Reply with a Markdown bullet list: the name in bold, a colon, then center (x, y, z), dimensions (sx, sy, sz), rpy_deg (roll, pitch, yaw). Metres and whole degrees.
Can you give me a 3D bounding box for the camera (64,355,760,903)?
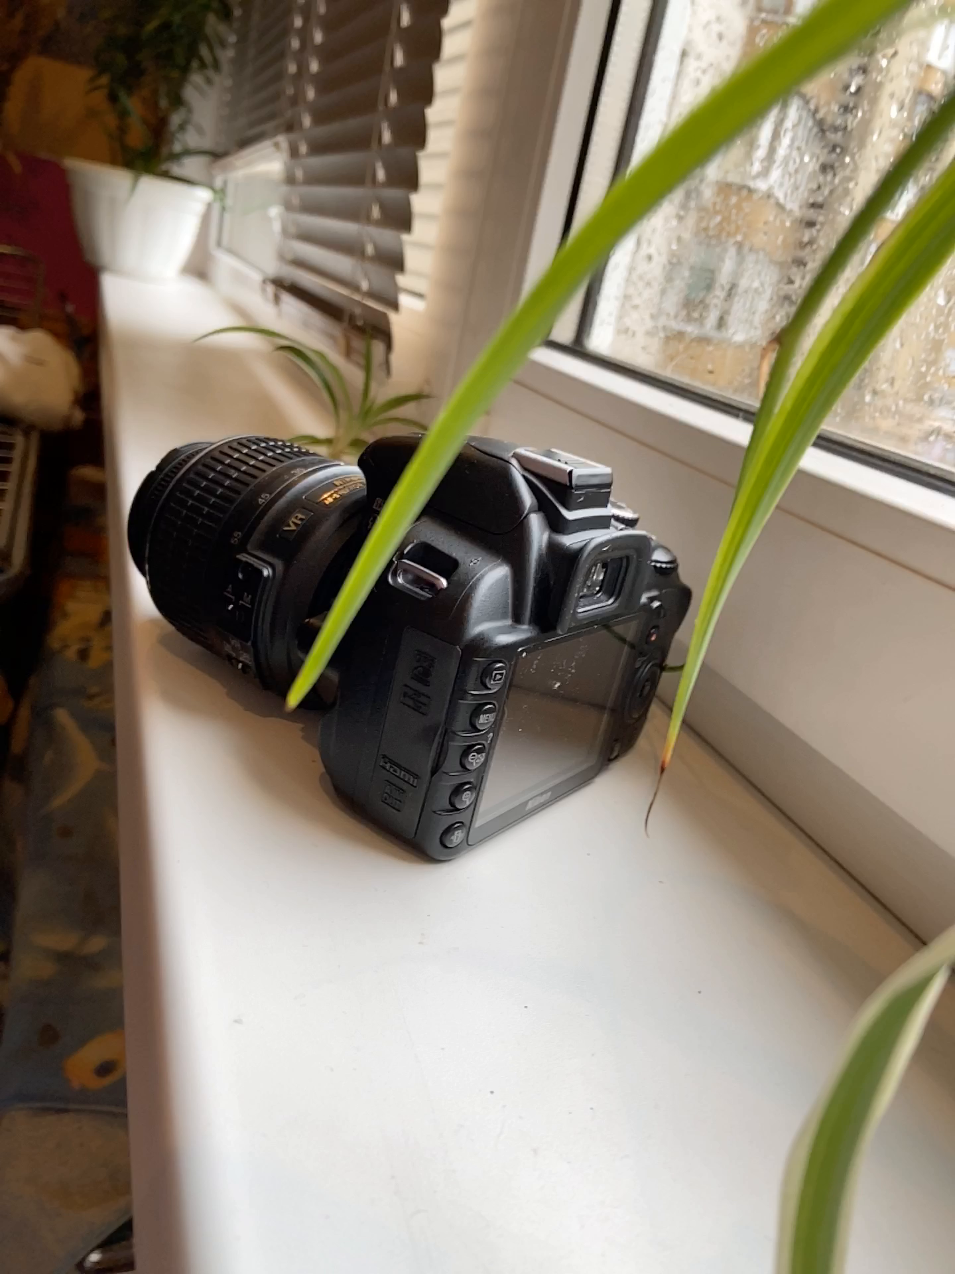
- **camera**: center (-0.022, -0.019, 0.304), dimensions (0.159, 0.092, 0.122), rpy_deg (24, 23, 30)
